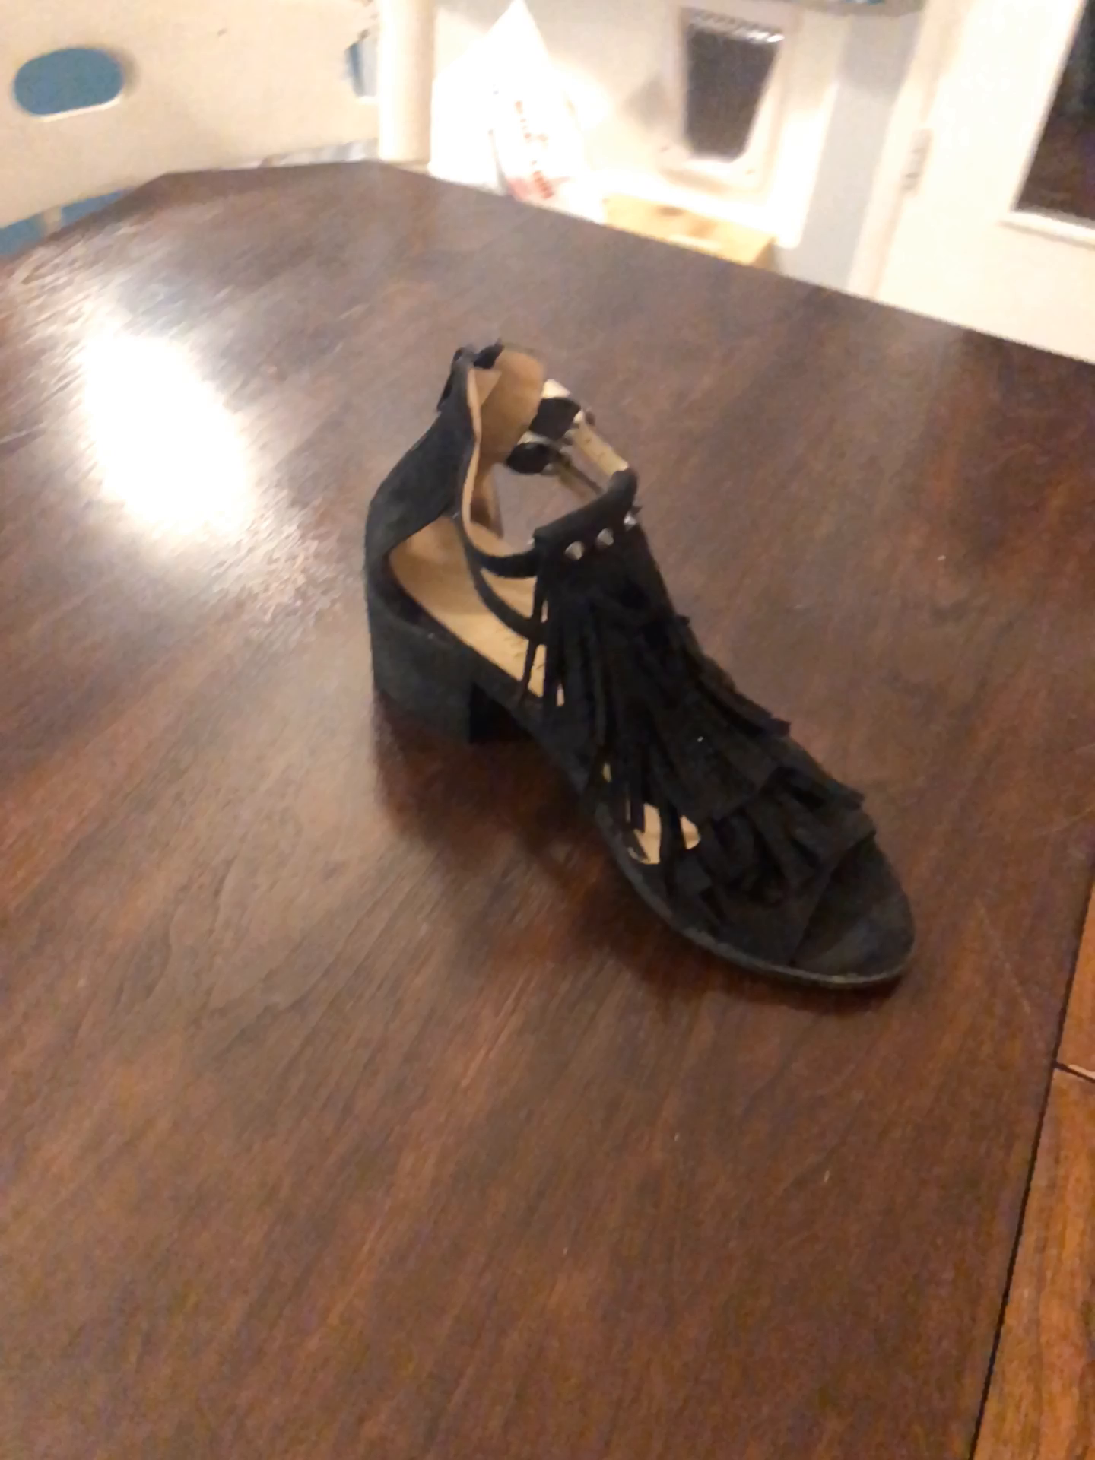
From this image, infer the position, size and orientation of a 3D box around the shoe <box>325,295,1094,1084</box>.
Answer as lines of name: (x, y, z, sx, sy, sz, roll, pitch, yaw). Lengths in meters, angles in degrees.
shoe: (0.046, -0.022, 0.424, 0.240, 0.150, 0.100, 34, 53, 24)
